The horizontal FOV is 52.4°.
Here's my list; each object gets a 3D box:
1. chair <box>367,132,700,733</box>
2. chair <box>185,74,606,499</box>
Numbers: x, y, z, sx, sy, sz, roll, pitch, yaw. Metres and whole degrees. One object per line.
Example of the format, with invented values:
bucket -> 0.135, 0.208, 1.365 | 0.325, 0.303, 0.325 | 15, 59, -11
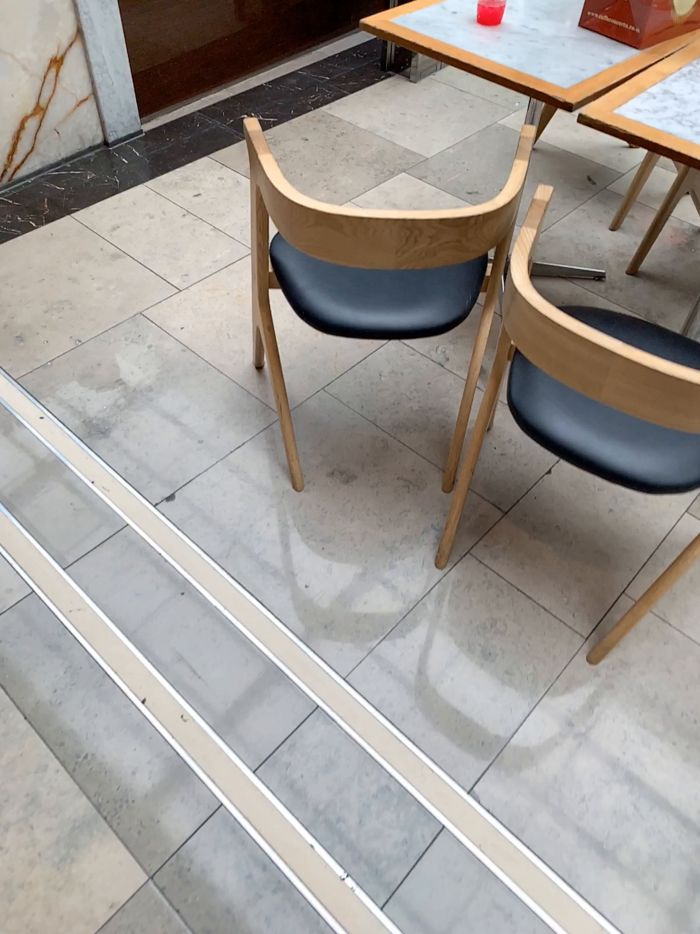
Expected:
chair -> 0.460, -0.058, 1.284 | 0.635, 0.717, 0.532 | 30, 55, 22
chair -> 0.057, -0.350, 1.515 | 0.643, 0.708, 0.504 | 0, 49, -2
